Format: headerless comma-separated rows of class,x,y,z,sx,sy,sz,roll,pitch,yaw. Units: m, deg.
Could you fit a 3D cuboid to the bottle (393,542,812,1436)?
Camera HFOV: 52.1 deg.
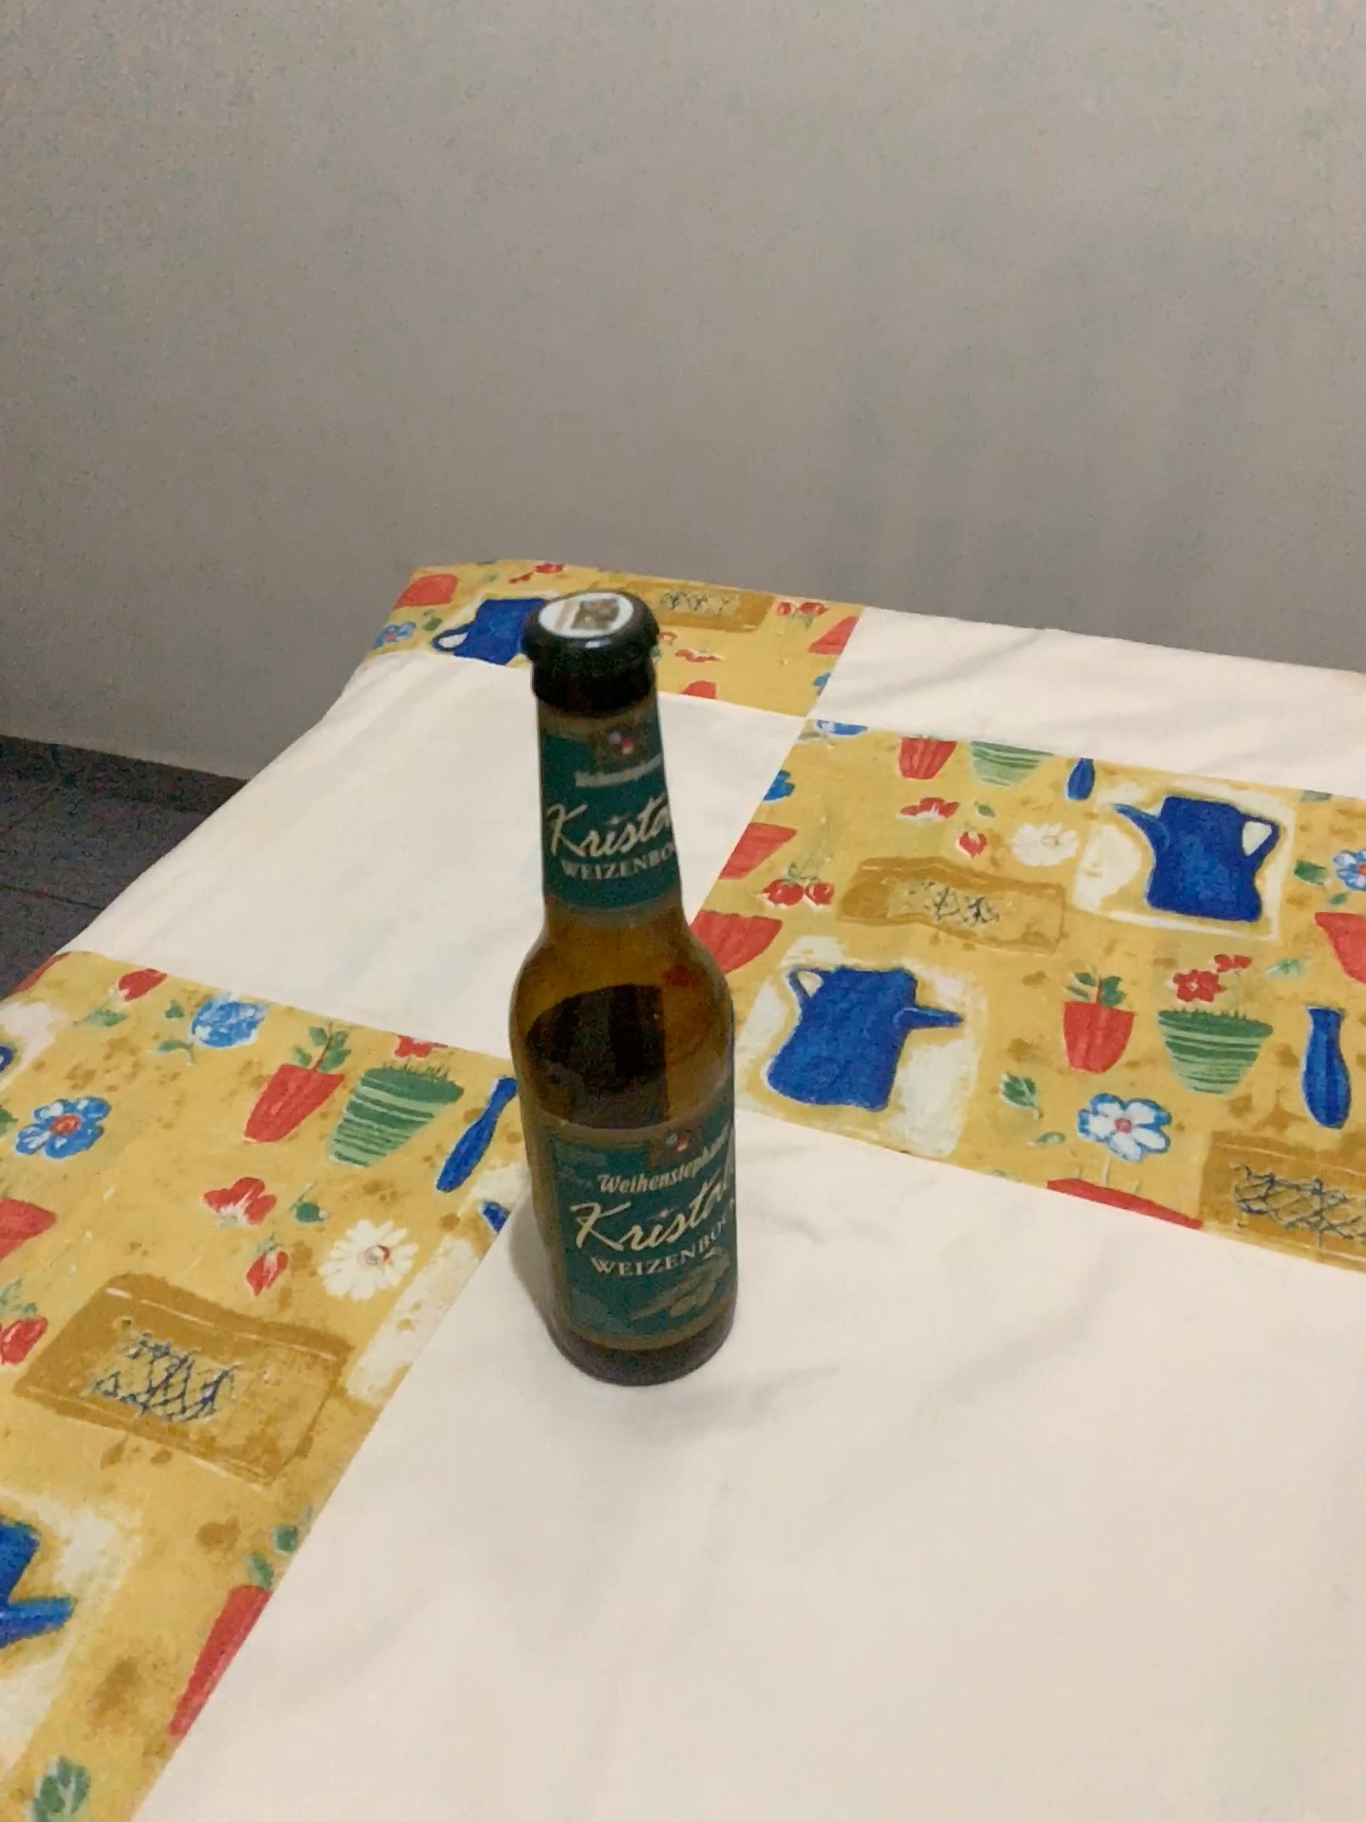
bottle,-0.015,0.032,0.360,0.070,0.229,0.060,-17,39,-18
